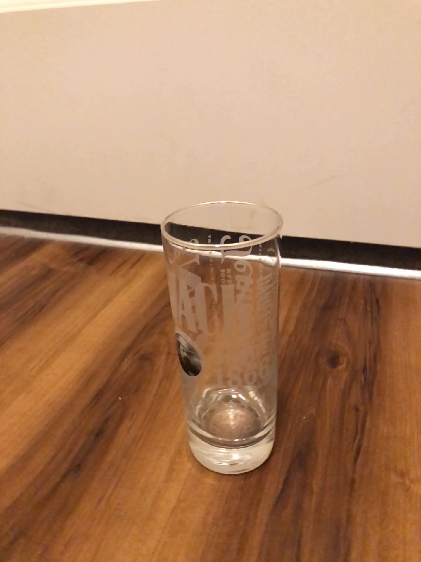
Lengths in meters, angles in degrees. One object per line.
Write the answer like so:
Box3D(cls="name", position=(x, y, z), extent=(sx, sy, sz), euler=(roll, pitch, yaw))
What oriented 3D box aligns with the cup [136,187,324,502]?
Box3D(cls="cup", position=(0.011, 0.034, 0.265), extent=(0.068, 0.150, 0.067), euler=(-3, 28, 1))
